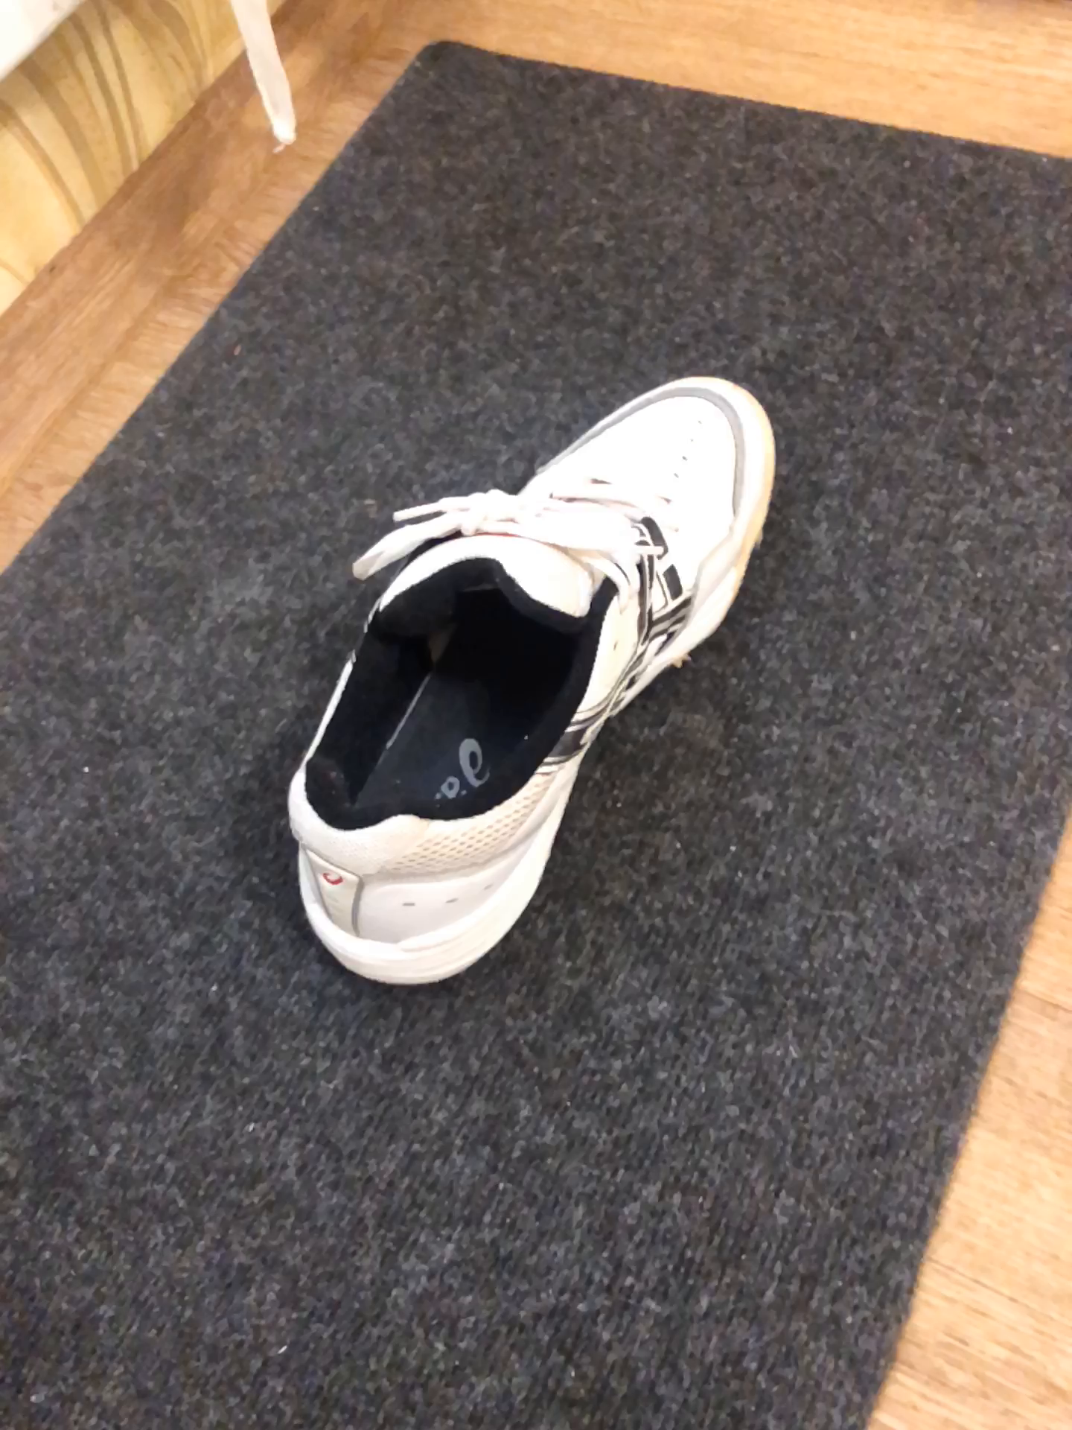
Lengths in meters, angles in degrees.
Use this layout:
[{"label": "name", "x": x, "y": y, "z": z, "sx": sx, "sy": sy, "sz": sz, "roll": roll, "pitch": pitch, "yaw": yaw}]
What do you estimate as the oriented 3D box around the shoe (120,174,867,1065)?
[{"label": "shoe", "x": 0.005, "y": -0.042, "z": 0.420, "sx": 0.100, "sy": 0.110, "sz": 0.289, "roll": 25, "pitch": 67, "yaw": 21}]
